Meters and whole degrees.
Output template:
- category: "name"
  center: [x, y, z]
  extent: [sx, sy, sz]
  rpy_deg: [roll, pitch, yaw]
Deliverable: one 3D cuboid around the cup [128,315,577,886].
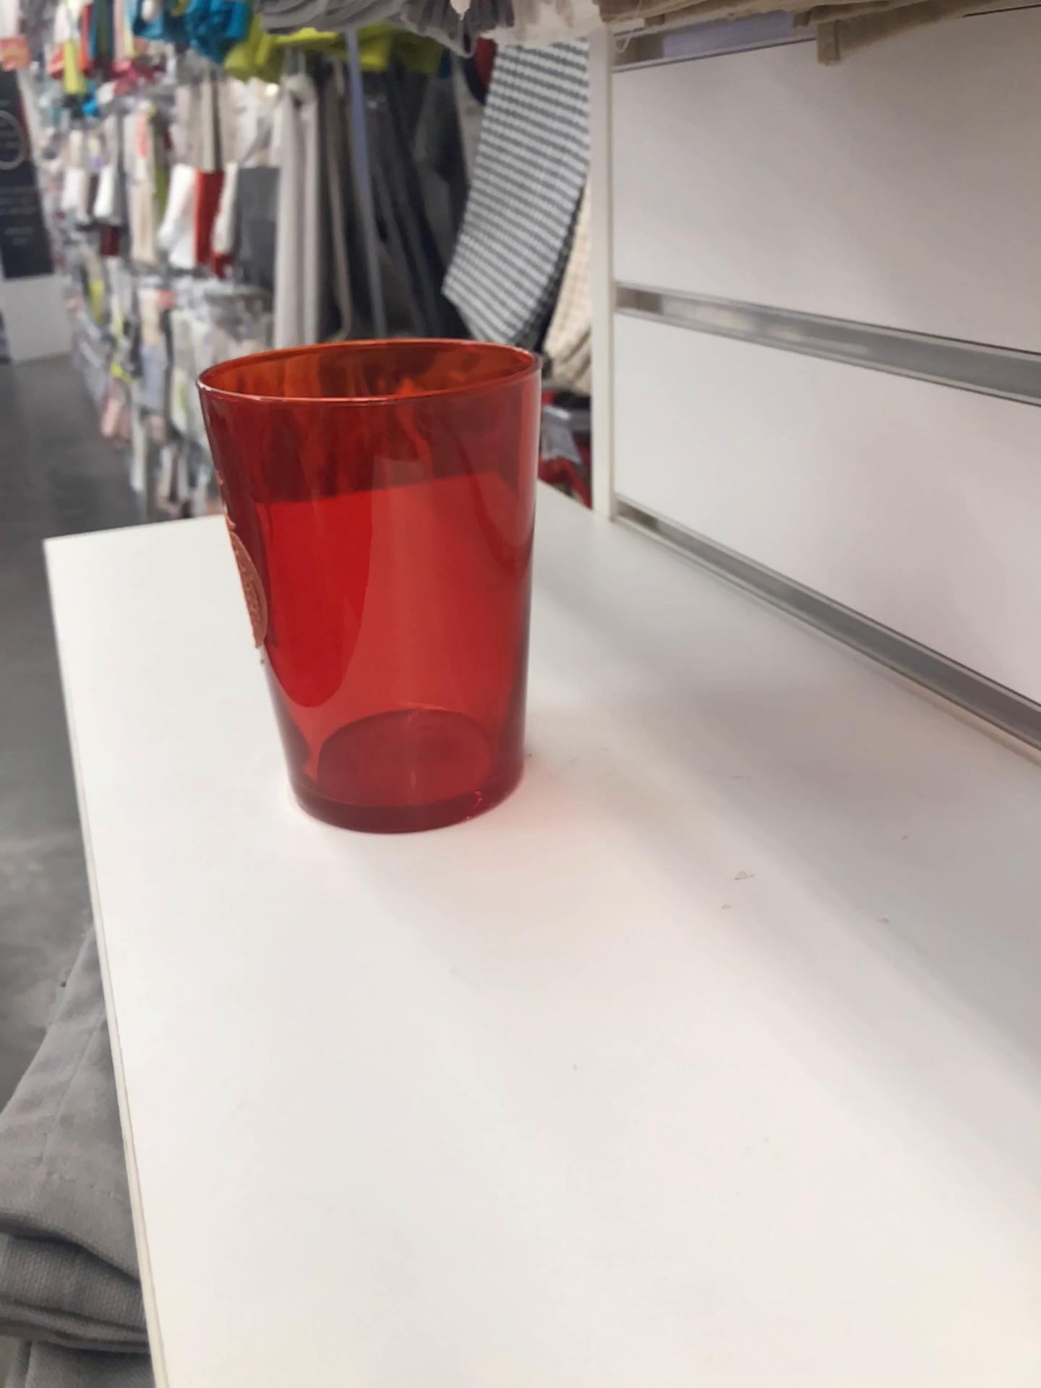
- category: "cup"
  center: [-0.046, -0.033, 0.319]
  extent: [0.091, 0.121, 0.091]
  rpy_deg: [-1, 25, 1]
